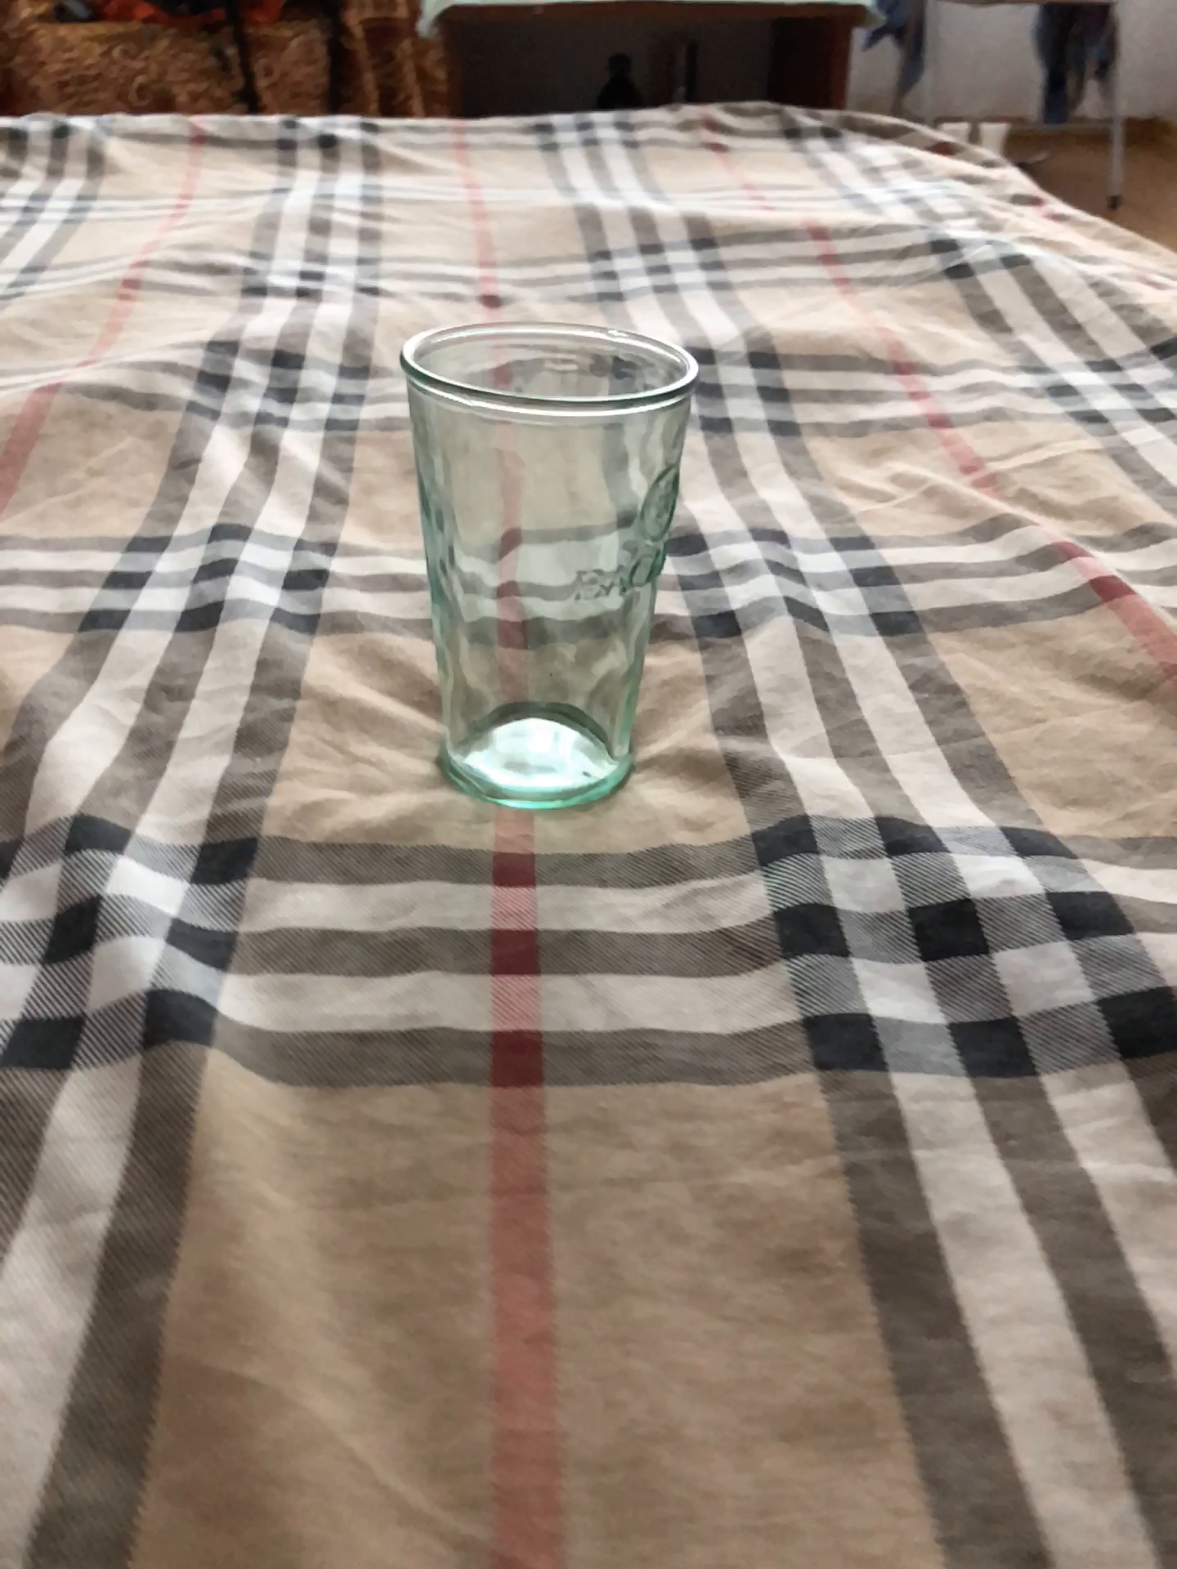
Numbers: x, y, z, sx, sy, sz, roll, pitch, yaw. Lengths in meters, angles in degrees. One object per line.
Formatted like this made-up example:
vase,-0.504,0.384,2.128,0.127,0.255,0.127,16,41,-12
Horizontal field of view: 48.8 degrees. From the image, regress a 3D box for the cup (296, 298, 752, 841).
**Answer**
cup,-0.014,-0.064,0.361,0.082,0.112,0.085,0,33,0
